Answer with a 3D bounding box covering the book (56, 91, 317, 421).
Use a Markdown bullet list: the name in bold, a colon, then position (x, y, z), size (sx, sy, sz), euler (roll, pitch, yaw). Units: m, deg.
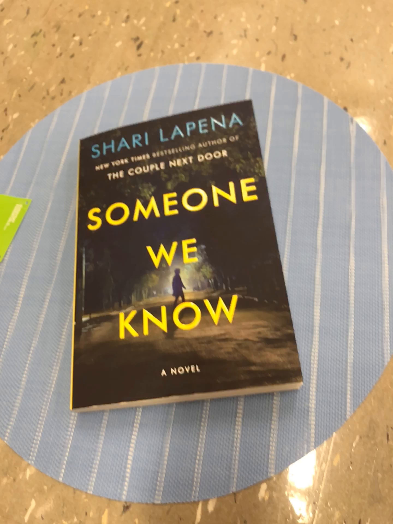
- **book**: position (-0.017, -0.011, 0.325), size (0.161, 0.030, 0.225), euler (-10, 66, 9)
